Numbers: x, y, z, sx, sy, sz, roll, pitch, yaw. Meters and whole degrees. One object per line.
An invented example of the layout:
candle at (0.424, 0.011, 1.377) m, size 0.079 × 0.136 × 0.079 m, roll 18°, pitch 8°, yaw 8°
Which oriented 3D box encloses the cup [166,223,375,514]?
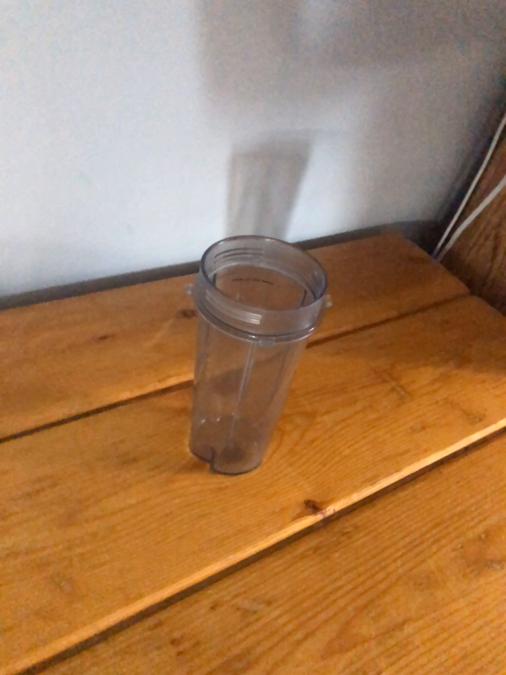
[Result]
cup at (0.001, 0.028, 0.416) m, size 0.080 × 0.189 × 0.090 m, roll -25°, pitch 55°, yaw -35°
